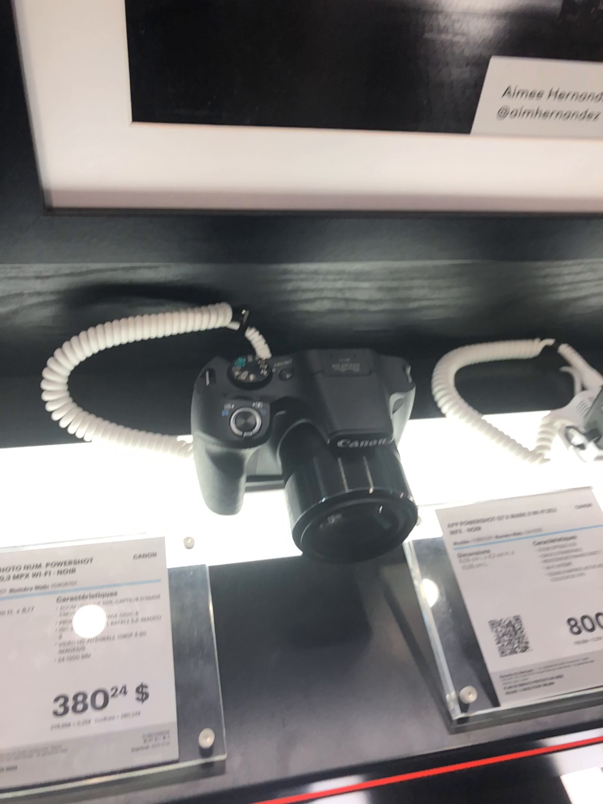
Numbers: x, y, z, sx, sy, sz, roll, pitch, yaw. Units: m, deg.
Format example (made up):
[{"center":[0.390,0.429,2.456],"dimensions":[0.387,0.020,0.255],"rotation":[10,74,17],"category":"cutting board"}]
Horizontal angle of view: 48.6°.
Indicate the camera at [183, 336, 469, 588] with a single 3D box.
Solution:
[{"center":[0.004,0.030,0.346],"dimensions":[0.122,0.099,0.071],"rotation":[-4,42,-14],"category":"camera"}]
